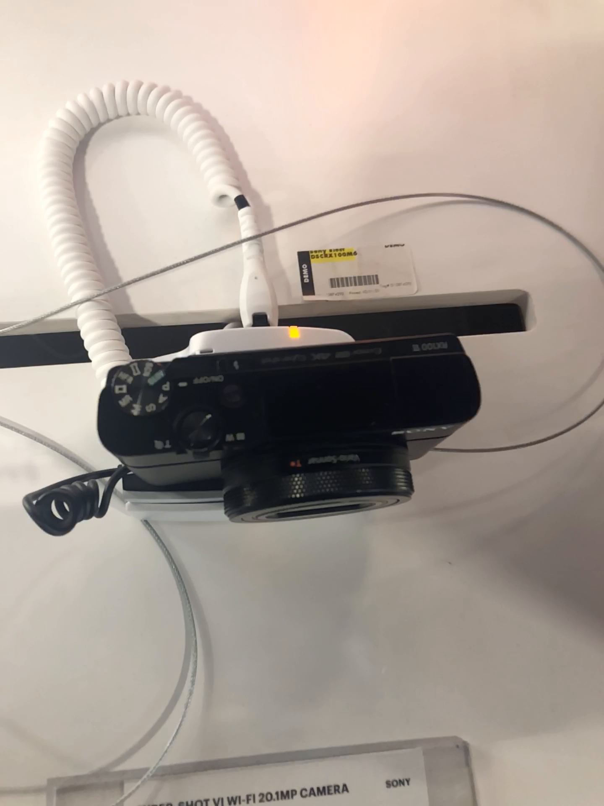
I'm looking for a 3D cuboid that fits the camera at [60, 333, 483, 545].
[{"bbox_3d":[-0.010,0.014,0.205,0.109,0.060,0.040,-5,72,-5],"label":"camera"}]
